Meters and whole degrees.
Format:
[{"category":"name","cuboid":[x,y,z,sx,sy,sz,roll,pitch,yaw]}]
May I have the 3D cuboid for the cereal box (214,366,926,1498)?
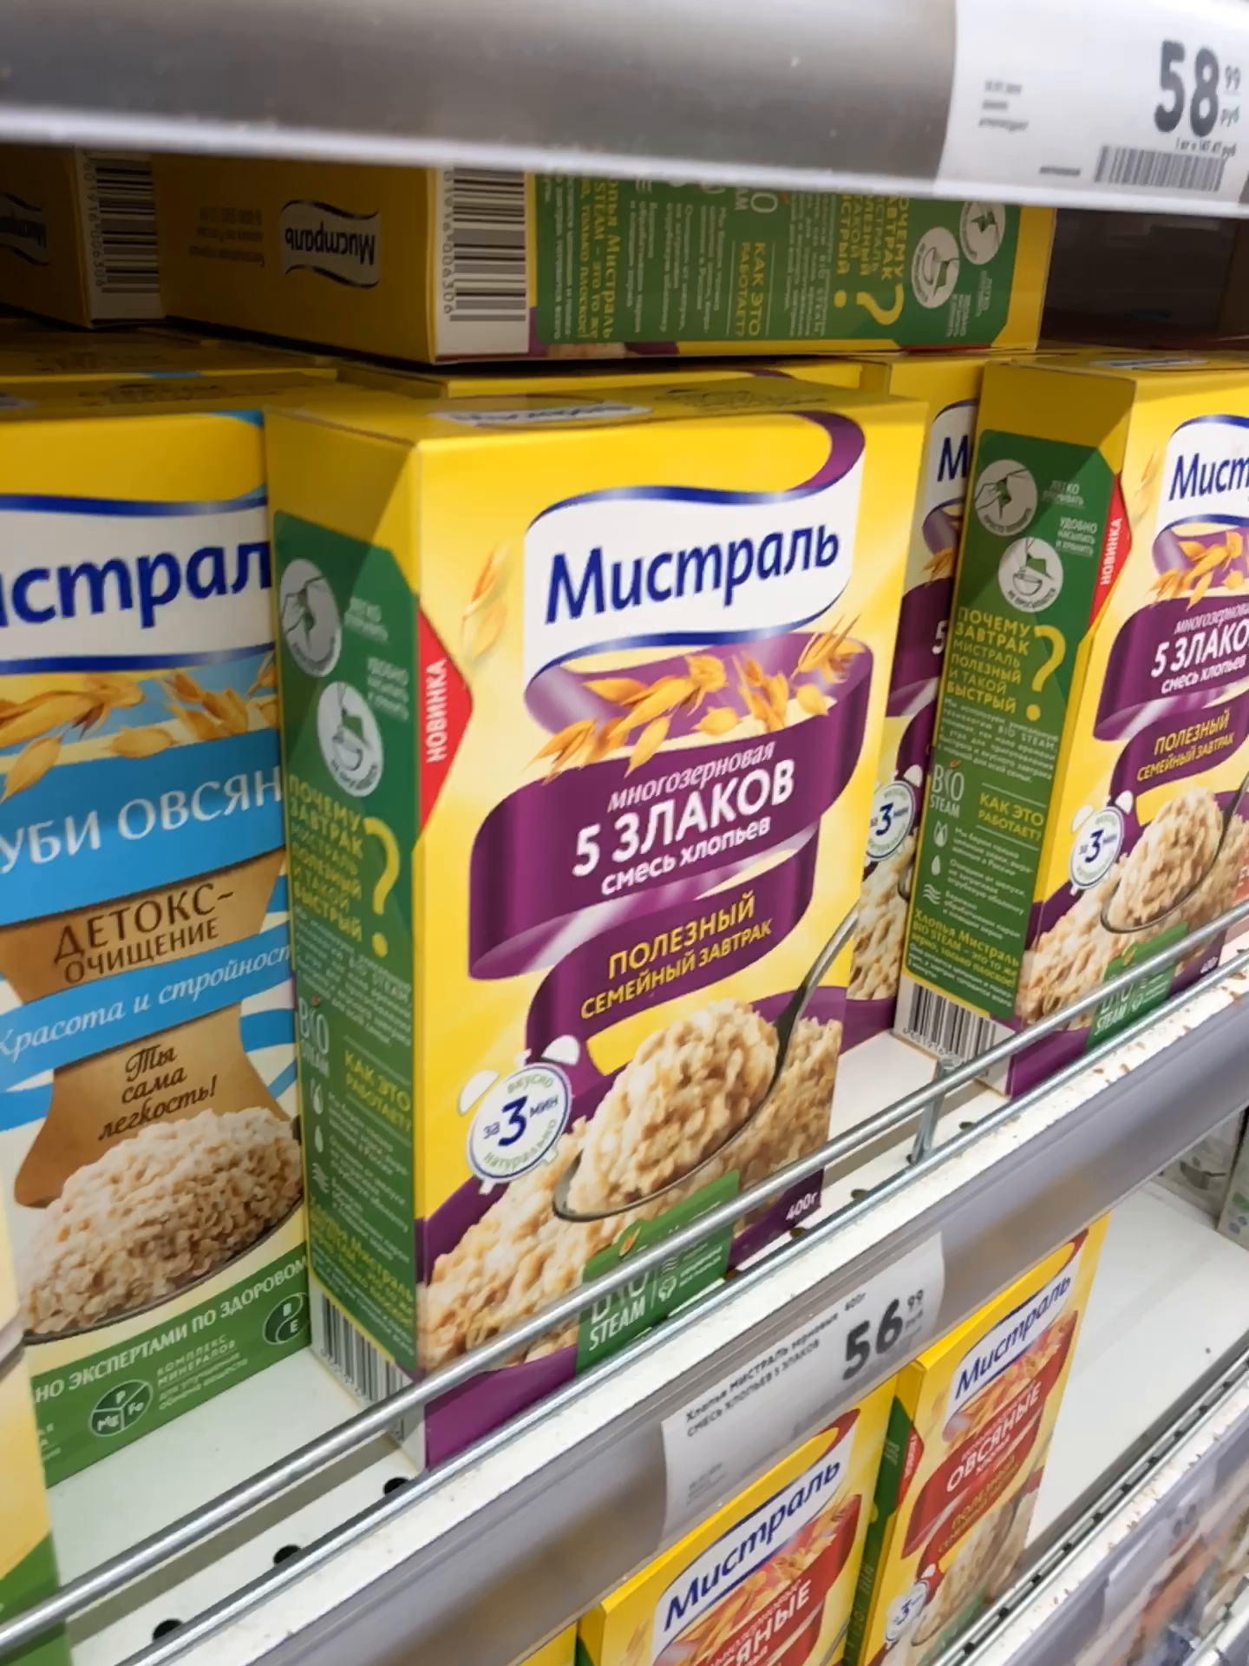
[{"category":"cereal box","cuboid":[-0.008,0.015,0.297,0.130,0.209,0.050,-19,32,-40]}]
